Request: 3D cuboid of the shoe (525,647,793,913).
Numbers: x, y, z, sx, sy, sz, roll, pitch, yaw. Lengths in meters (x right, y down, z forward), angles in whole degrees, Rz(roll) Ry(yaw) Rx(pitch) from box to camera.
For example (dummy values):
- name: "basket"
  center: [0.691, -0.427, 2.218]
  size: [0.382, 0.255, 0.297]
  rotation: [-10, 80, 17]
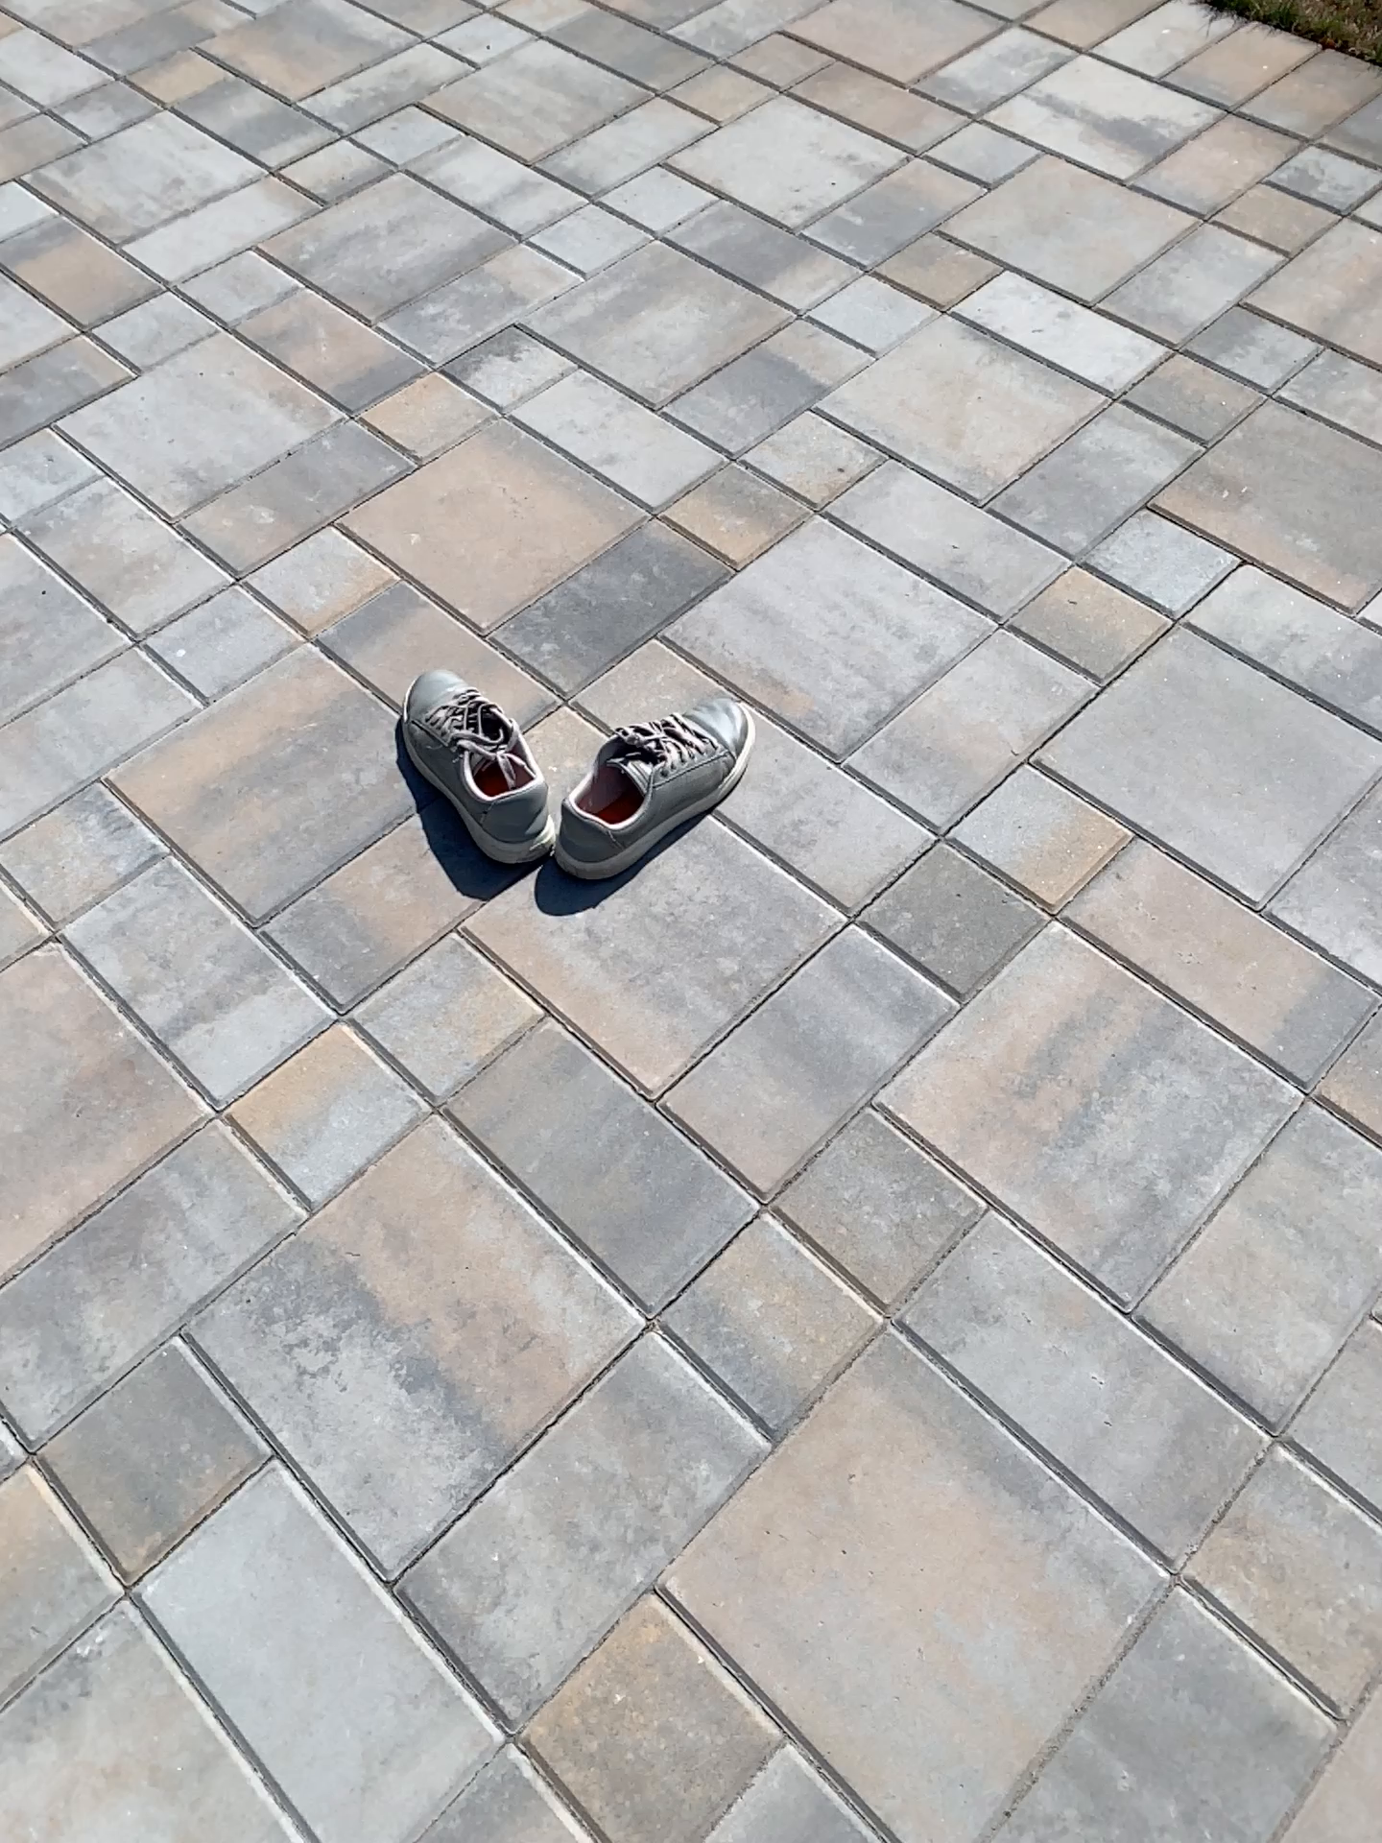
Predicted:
- name: "shoe"
  center: [-0.031, -0.161, 1.567]
  size: [0.120, 0.090, 0.300]
  rotation: [37, 65, 22]

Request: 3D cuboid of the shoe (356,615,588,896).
- name: "shoe"
  center: [-0.248, -0.191, 1.588]
  size: [0.120, 0.110, 0.301]
  rotation: [-29, 61, -16]
